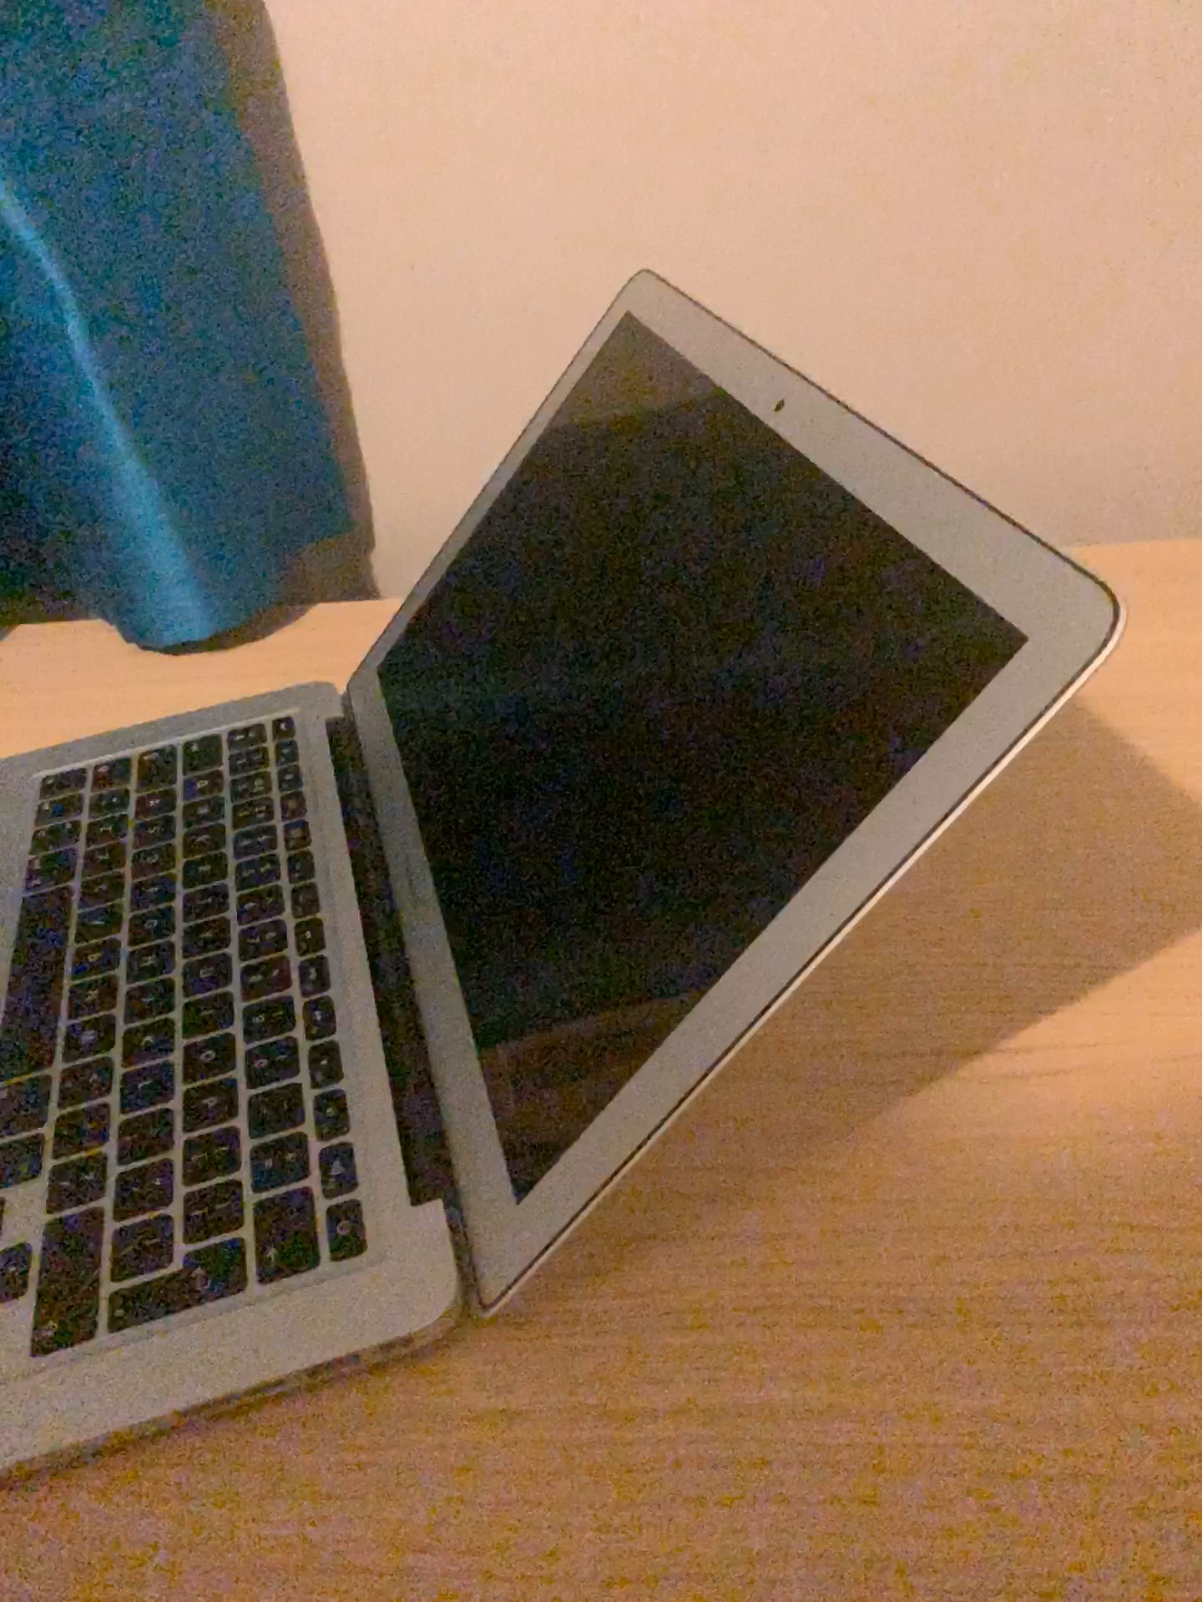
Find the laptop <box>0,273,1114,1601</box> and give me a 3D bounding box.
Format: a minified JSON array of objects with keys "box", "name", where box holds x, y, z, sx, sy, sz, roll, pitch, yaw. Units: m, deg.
[{"box":[-0.112,-0.015,0.364,0.368,0.144,0.304,-14,36,-10],"name":"laptop"}]
